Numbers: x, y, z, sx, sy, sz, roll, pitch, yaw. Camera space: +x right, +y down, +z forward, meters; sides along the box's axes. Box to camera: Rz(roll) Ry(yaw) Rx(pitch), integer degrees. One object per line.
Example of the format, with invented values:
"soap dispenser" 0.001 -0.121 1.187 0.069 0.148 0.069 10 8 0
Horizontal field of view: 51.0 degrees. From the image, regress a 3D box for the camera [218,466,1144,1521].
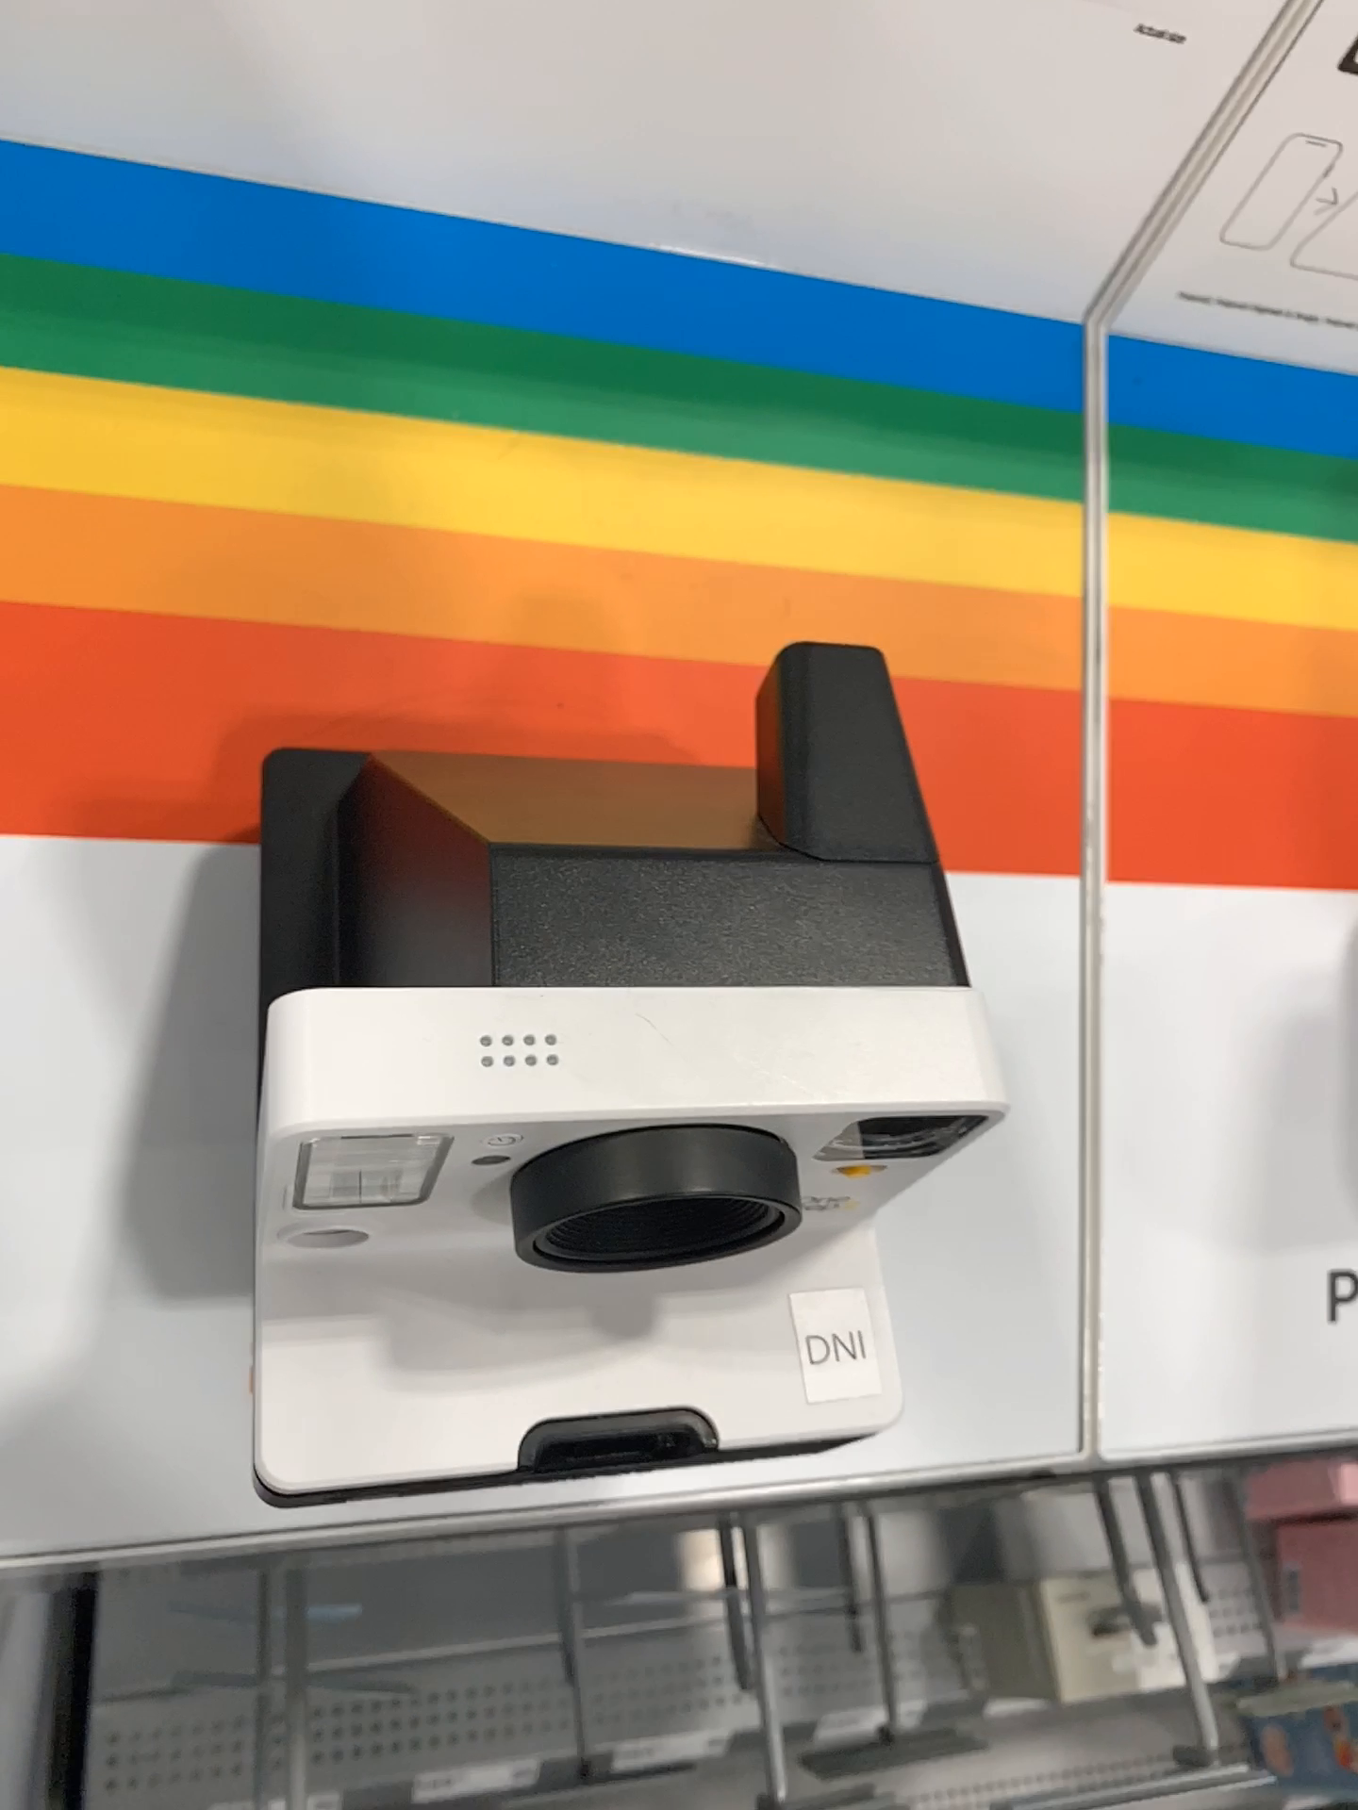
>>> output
"camera" -0.015 0.017 0.246 0.120 0.090 0.145 1 63 -18
